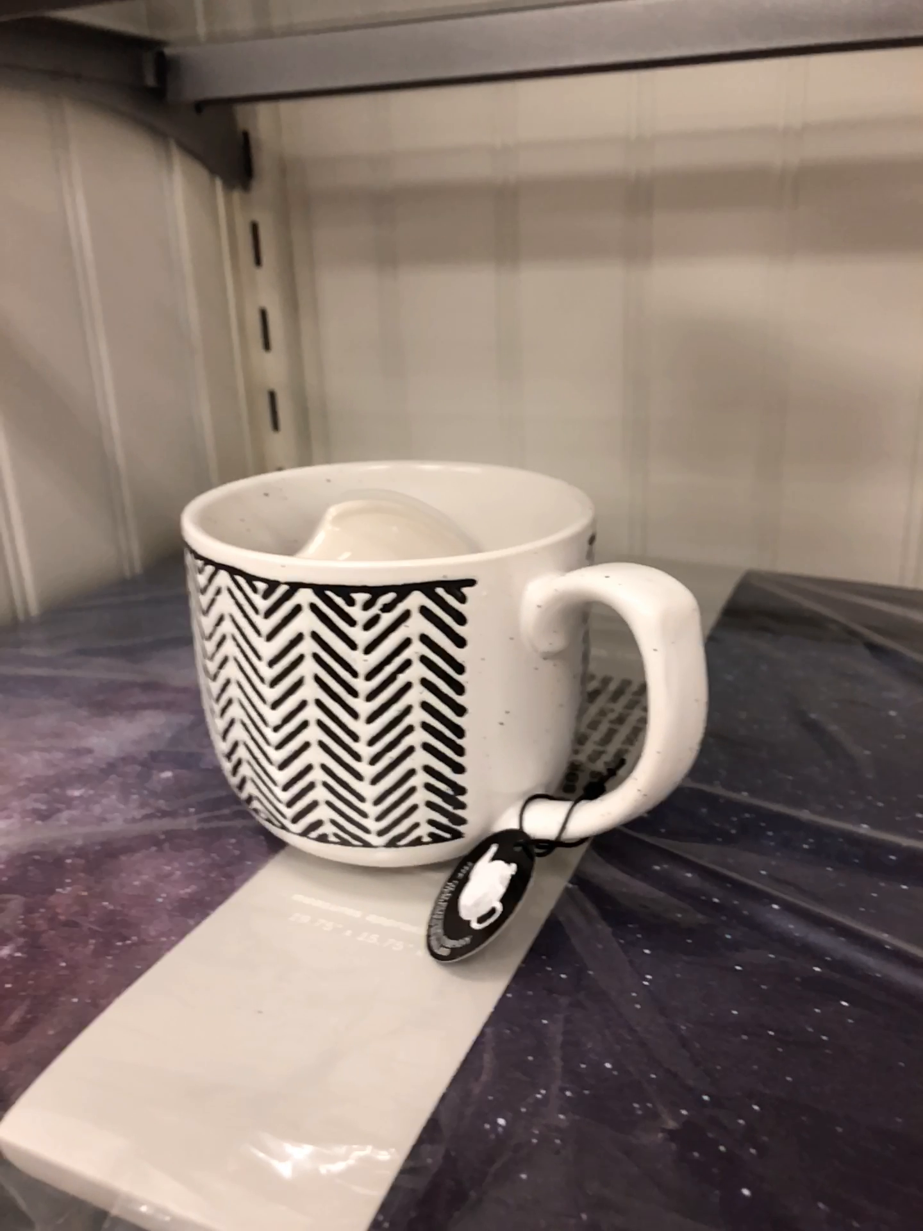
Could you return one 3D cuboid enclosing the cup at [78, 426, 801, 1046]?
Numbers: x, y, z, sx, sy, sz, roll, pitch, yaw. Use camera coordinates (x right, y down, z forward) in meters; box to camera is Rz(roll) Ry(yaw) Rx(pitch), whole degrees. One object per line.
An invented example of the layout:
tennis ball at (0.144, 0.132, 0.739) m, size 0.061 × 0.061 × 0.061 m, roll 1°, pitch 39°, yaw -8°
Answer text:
cup at (-0.010, 0.010, 0.245) m, size 0.090 × 0.079 × 0.140 m, roll -21°, pitch 28°, yaw -40°
